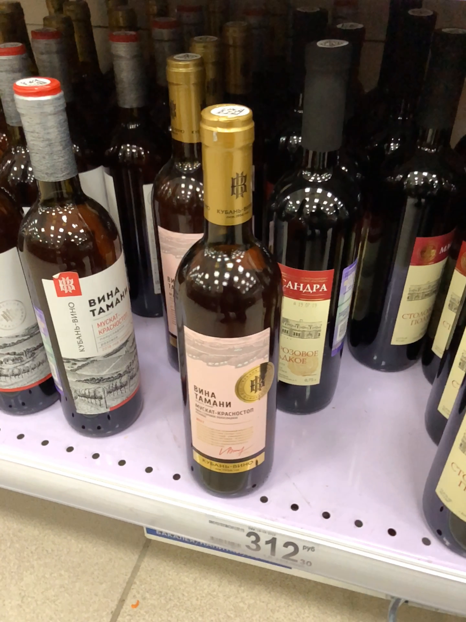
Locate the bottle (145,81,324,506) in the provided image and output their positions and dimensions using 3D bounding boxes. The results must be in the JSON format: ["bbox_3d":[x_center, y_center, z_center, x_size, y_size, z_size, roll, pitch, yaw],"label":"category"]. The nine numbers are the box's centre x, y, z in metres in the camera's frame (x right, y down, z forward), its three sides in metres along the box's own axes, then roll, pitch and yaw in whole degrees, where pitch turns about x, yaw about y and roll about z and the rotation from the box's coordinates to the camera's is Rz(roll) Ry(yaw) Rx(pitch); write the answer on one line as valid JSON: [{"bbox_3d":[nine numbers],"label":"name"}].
[{"bbox_3d":[0.004,0.011,0.344,0.080,0.290,0.070,4,37,5],"label":"bottle"}]
